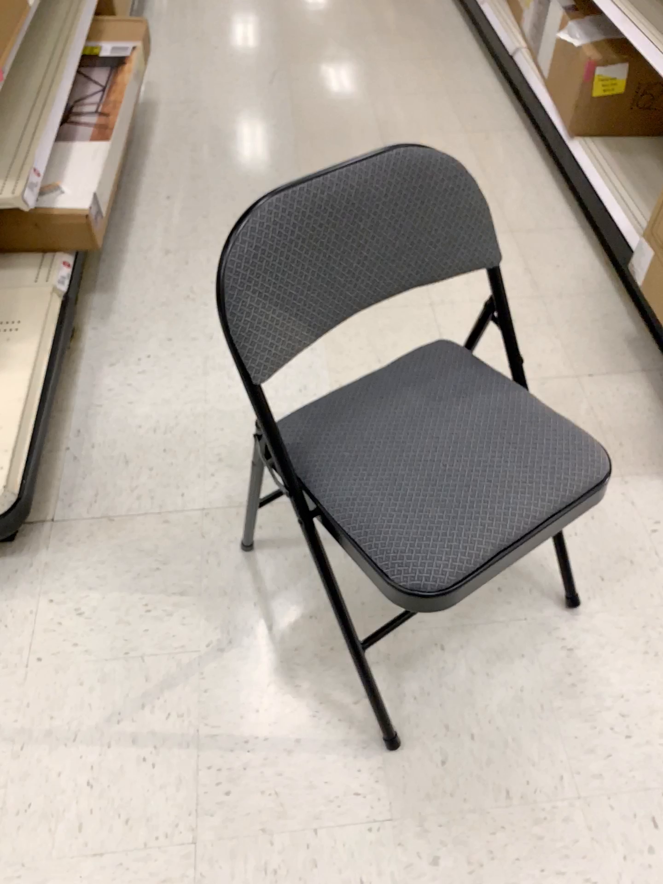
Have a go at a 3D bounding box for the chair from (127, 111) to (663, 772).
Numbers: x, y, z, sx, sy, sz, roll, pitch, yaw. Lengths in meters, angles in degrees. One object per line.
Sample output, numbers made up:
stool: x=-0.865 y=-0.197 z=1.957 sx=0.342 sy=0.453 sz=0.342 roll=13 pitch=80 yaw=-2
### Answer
chair: x=0.116 y=0.014 z=1.033 sx=0.501 sy=0.677 sz=0.552 roll=-29 pitch=57 yaw=-22
